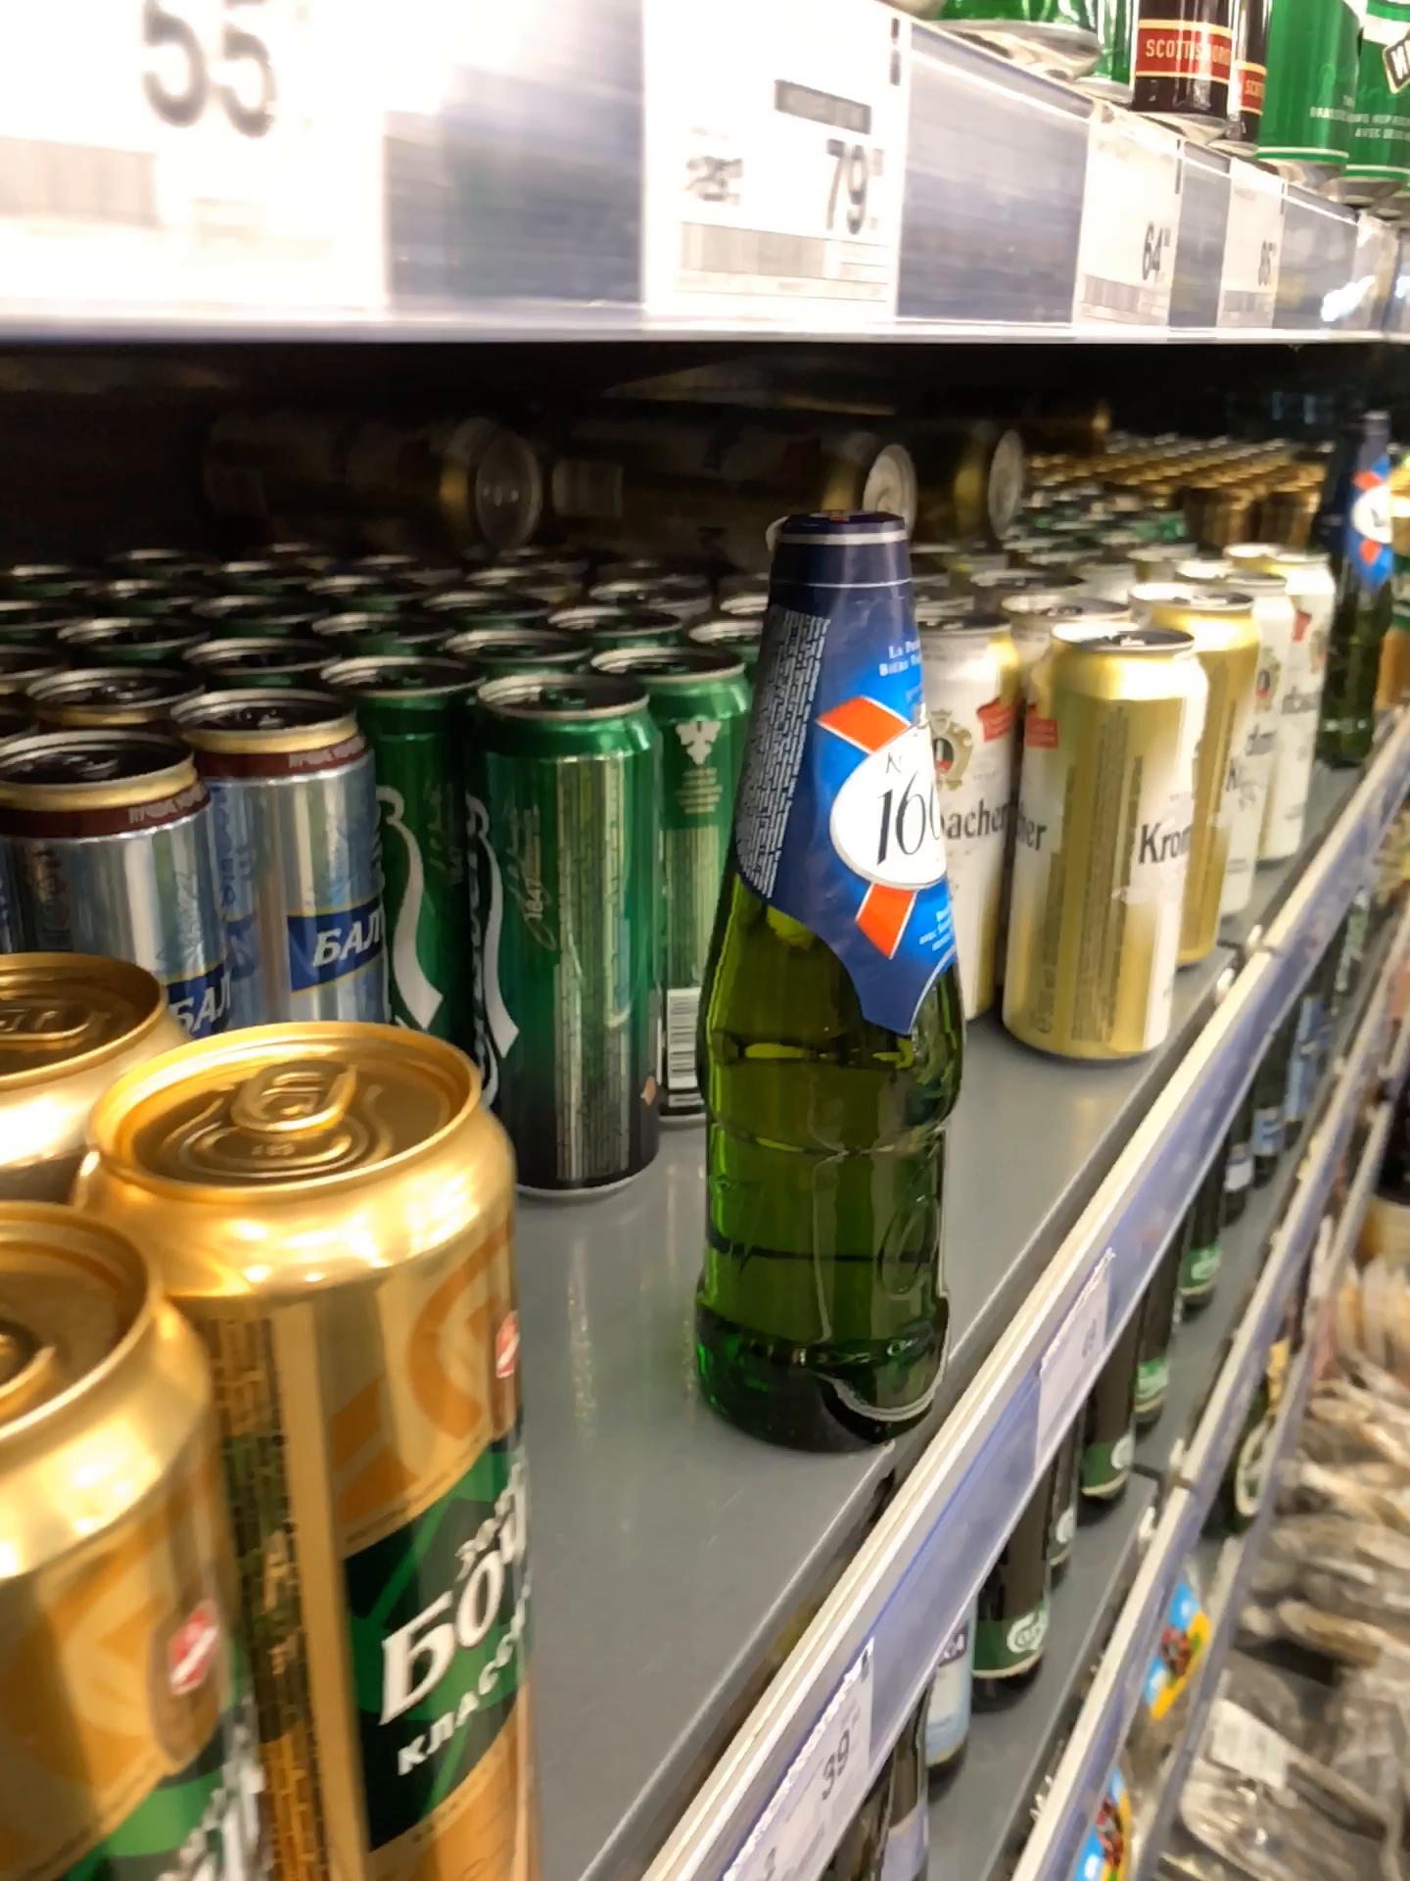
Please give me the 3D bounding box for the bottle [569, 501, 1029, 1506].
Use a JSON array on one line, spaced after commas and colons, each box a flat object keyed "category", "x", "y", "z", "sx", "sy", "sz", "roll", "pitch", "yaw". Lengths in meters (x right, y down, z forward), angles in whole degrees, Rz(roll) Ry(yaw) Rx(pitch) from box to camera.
[{"category": "bottle", "x": 0.022, "y": 0.013, "z": 0.396, "sx": 0.080, "sy": 0.229, "sz": 0.080, "roll": 1, "pitch": 20, "yaw": 0}]
